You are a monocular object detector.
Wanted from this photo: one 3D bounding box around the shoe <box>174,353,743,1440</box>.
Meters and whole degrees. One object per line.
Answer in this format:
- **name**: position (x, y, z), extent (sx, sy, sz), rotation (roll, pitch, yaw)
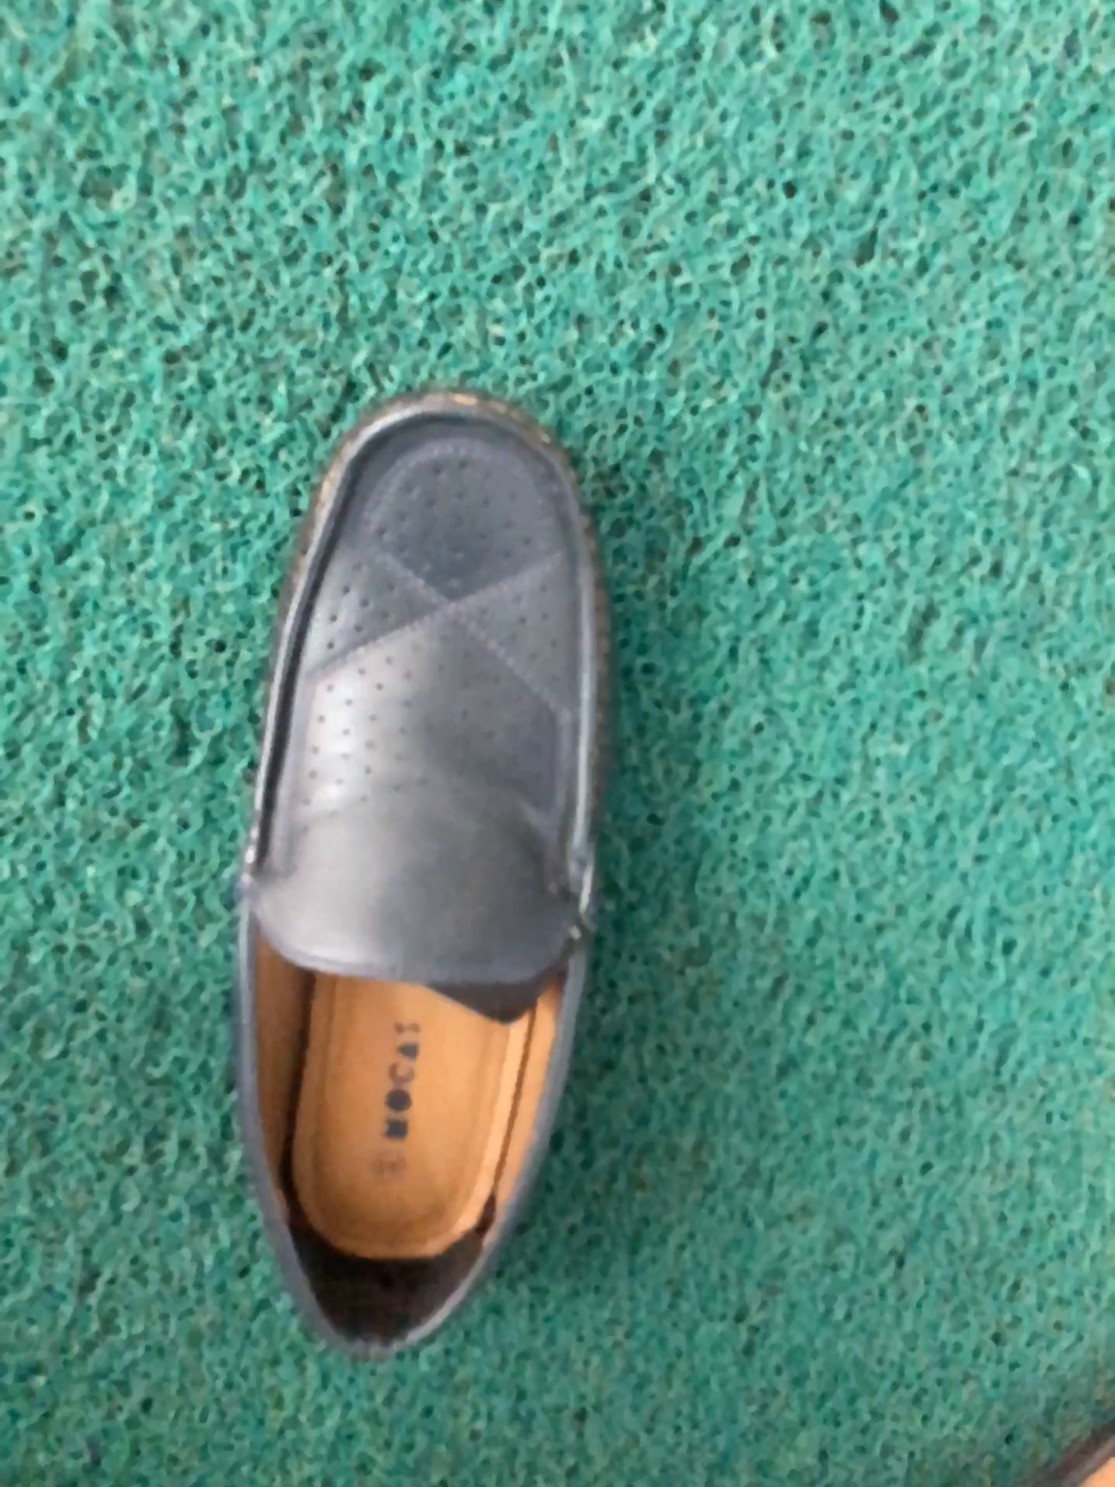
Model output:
- **shoe**: position (-0.035, 0.048, 0.335), extent (0.100, 0.070, 0.280), rotation (8, 104, -9)
